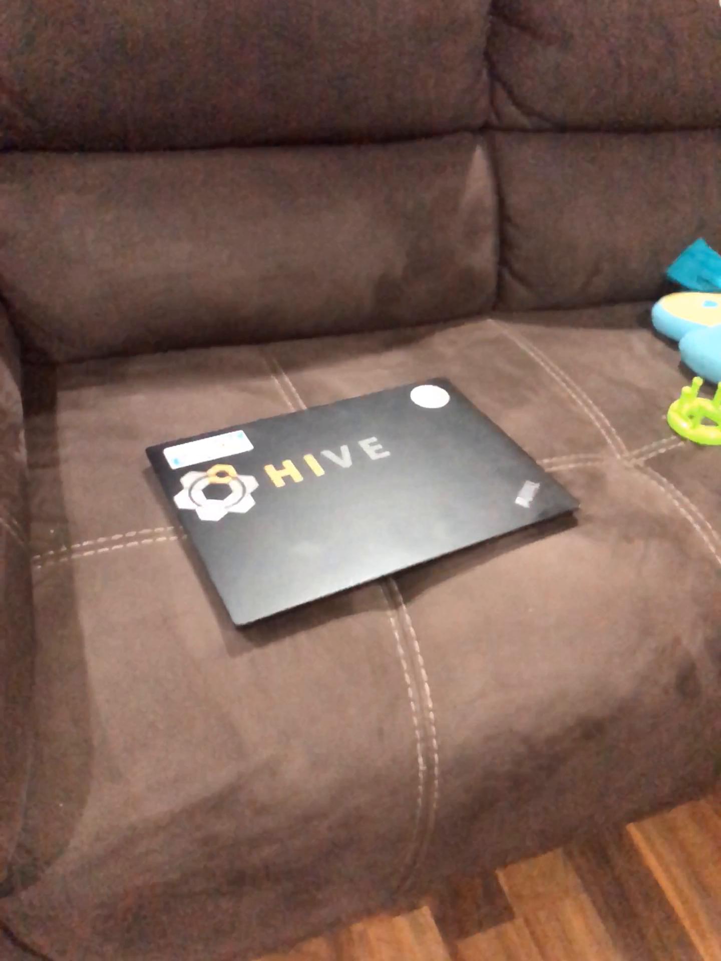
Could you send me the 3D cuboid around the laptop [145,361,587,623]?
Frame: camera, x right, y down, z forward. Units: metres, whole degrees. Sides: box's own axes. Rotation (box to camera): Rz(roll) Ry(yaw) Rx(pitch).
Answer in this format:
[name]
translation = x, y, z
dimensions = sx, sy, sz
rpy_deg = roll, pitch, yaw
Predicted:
[laptop]
translation = -0.001, -0.011, 0.734
dimensions = 0.329, 0.019, 0.236
rpy_deg = -16, 43, -22
